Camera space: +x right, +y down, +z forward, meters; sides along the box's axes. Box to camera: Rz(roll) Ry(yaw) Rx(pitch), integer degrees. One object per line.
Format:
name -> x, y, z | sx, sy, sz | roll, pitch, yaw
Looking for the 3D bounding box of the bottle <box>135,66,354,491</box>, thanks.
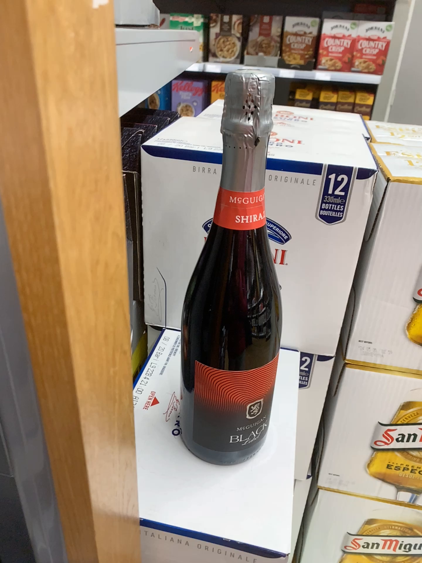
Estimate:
bottle -> 0.009, 0.005, 0.324 | 0.090, 0.289, 0.095 | 2, 29, -1
